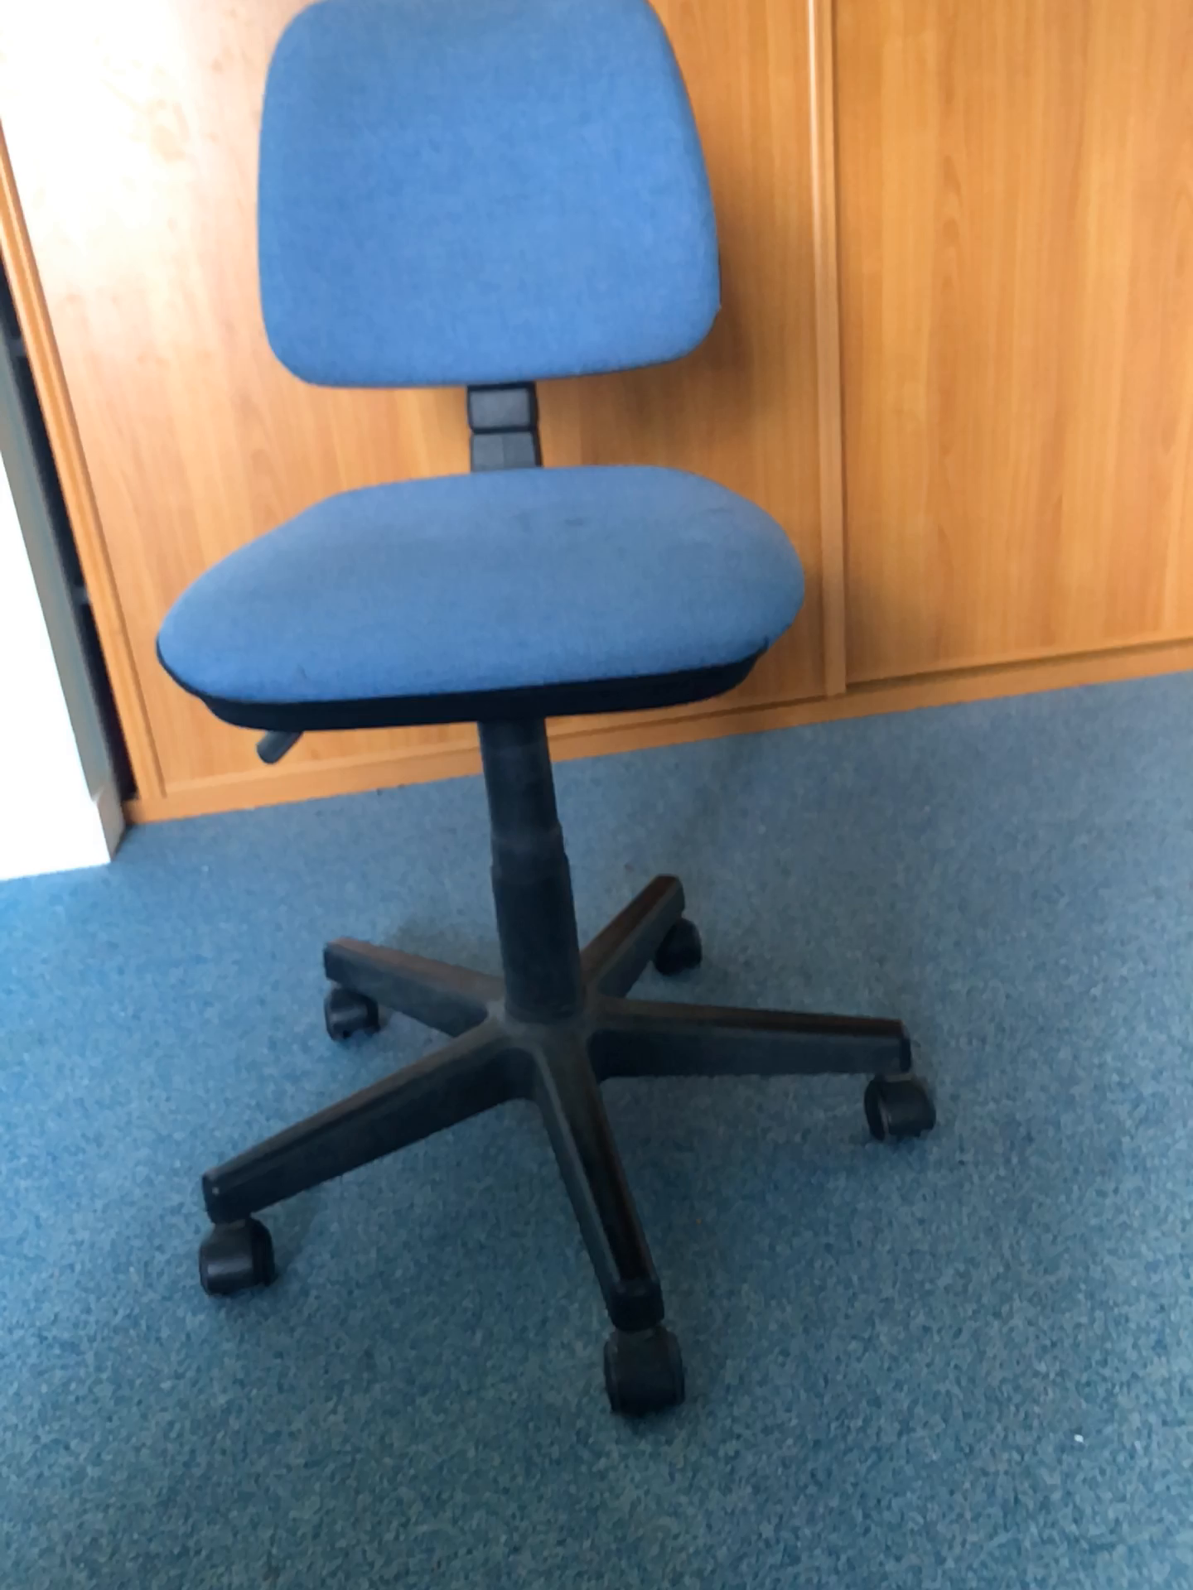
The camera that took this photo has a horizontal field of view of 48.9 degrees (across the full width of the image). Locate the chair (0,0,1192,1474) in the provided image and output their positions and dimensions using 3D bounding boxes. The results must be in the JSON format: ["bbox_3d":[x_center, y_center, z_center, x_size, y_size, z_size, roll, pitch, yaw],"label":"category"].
[{"bbox_3d":[-0.059,-0.155,1.023,0.650,0.915,0.764,-5,23,1],"label":"chair"}]
